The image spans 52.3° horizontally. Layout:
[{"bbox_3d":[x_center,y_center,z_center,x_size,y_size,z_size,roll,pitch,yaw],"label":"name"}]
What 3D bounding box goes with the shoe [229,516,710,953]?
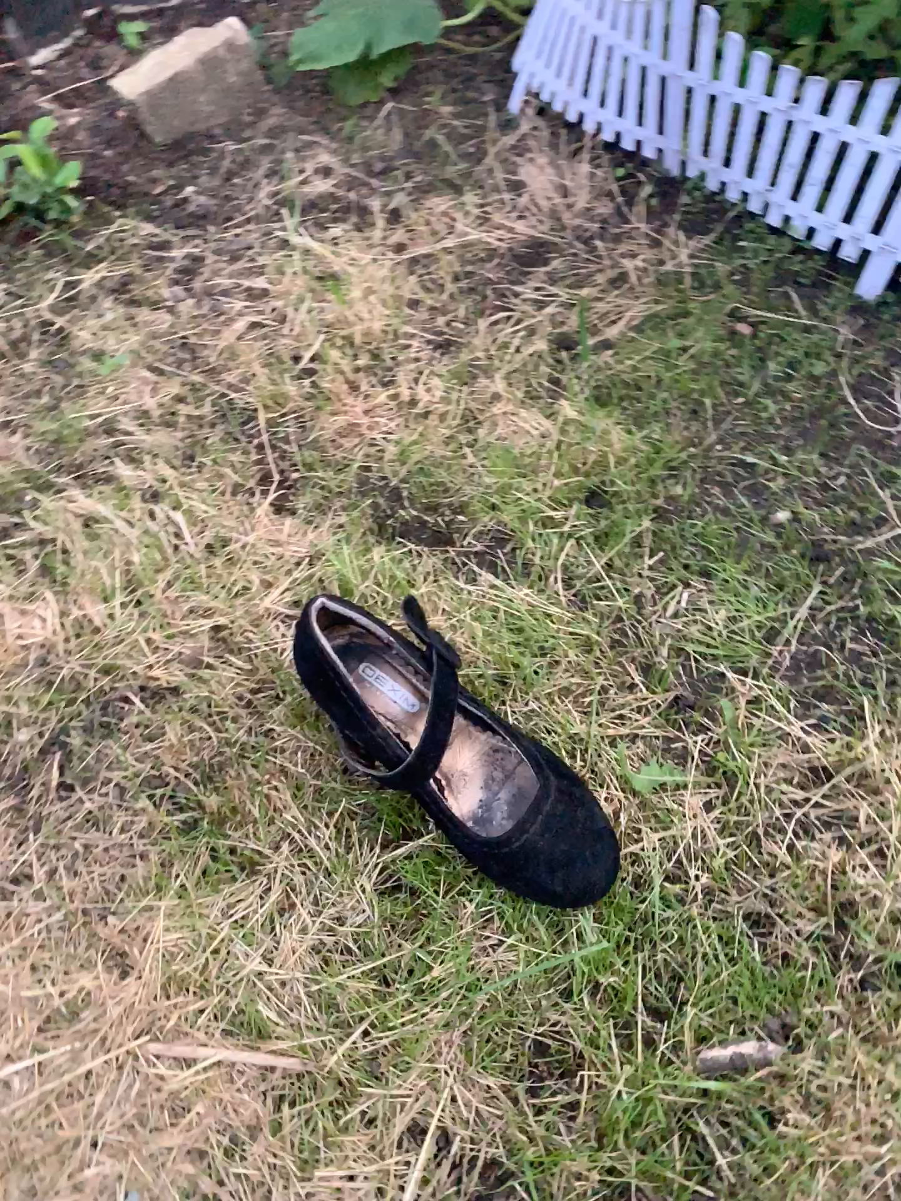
[{"bbox_3d":[0.007,0.072,0.550,0.251,0.109,0.110,30,60,25],"label":"shoe"}]
